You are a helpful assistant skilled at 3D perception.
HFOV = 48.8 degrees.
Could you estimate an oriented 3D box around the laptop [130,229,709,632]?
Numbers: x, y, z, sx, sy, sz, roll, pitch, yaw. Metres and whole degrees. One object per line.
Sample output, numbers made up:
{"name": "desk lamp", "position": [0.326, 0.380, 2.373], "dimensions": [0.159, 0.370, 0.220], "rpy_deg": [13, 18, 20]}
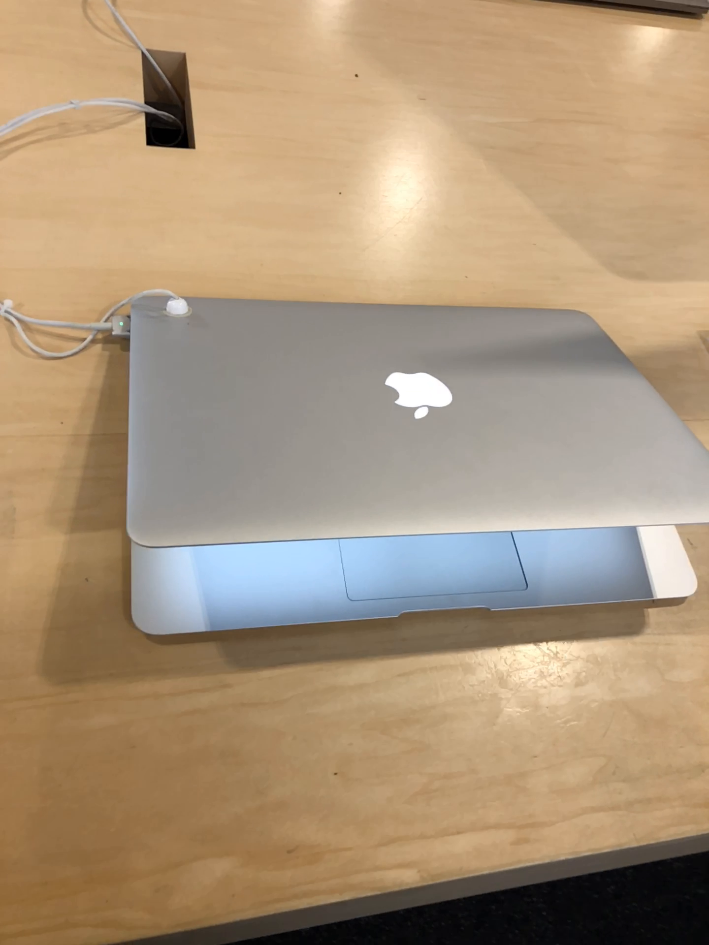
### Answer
{"name": "laptop", "position": [0.037, -0.033, 0.446], "dimensions": [0.315, 0.067, 0.216], "rpy_deg": [-1, 56, -14]}
